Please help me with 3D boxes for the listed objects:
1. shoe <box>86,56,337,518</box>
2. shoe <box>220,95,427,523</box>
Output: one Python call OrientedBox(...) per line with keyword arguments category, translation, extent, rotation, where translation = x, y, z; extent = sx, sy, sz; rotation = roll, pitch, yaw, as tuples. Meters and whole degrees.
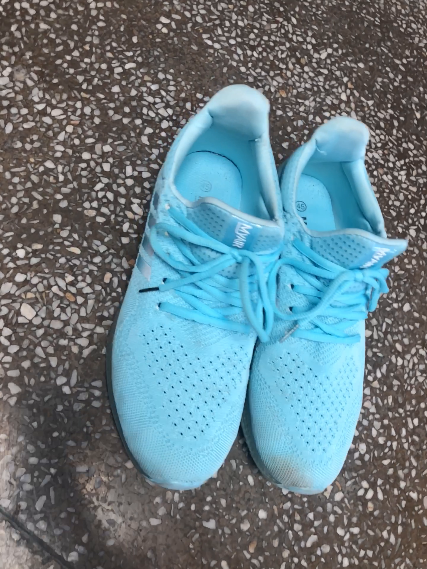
OrientedBox(category="shoe", translation=(-0.001, 0.005, 0.342), extent=(0.120, 0.125, 0.271), rotation=(12, 70, -14))
OrientedBox(category="shoe", translation=(0.092, 0.021, 0.366), extent=(0.120, 0.125, 0.271), rotation=(10, 70, -15))
